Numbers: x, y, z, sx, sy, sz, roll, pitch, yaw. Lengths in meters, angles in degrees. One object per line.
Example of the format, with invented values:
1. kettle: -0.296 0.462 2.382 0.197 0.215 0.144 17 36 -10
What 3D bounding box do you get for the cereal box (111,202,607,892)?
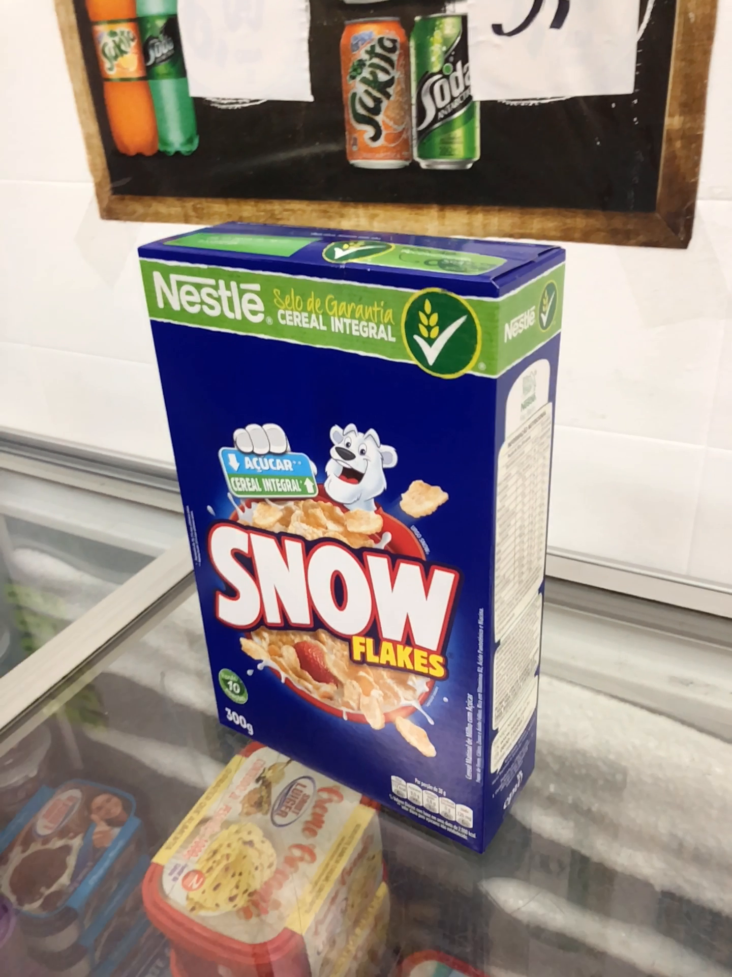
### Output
1. cereal box: -0.002 0.021 0.352 0.170 0.258 0.070 16 34 32
